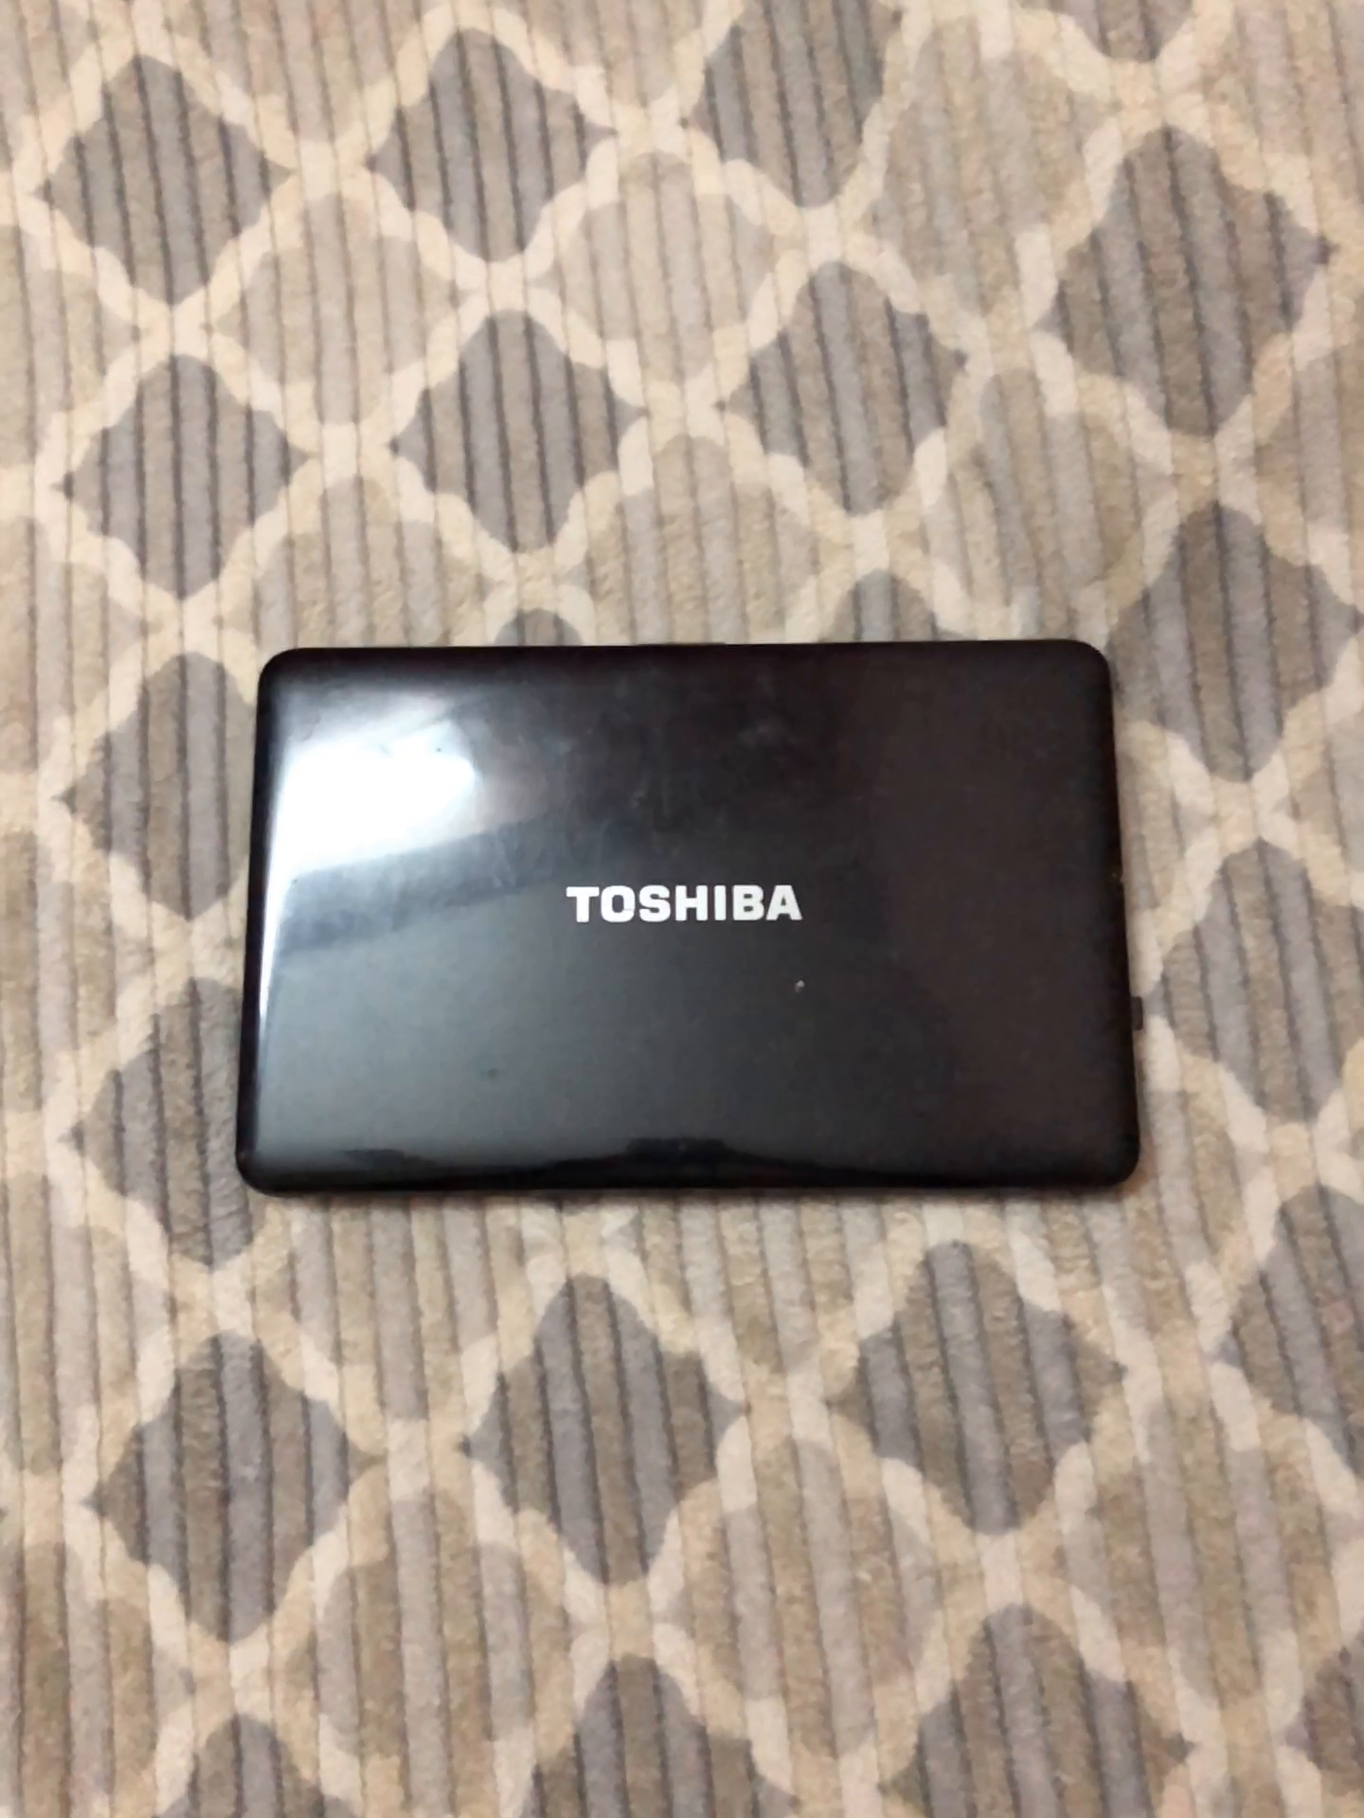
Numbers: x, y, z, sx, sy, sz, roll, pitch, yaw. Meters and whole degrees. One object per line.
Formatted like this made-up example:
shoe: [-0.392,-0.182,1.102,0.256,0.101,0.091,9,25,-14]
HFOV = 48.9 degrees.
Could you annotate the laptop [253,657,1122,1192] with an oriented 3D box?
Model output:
laptop: [-0.001,0.004,0.690,0.375,0.023,0.248,-1,76,1]
